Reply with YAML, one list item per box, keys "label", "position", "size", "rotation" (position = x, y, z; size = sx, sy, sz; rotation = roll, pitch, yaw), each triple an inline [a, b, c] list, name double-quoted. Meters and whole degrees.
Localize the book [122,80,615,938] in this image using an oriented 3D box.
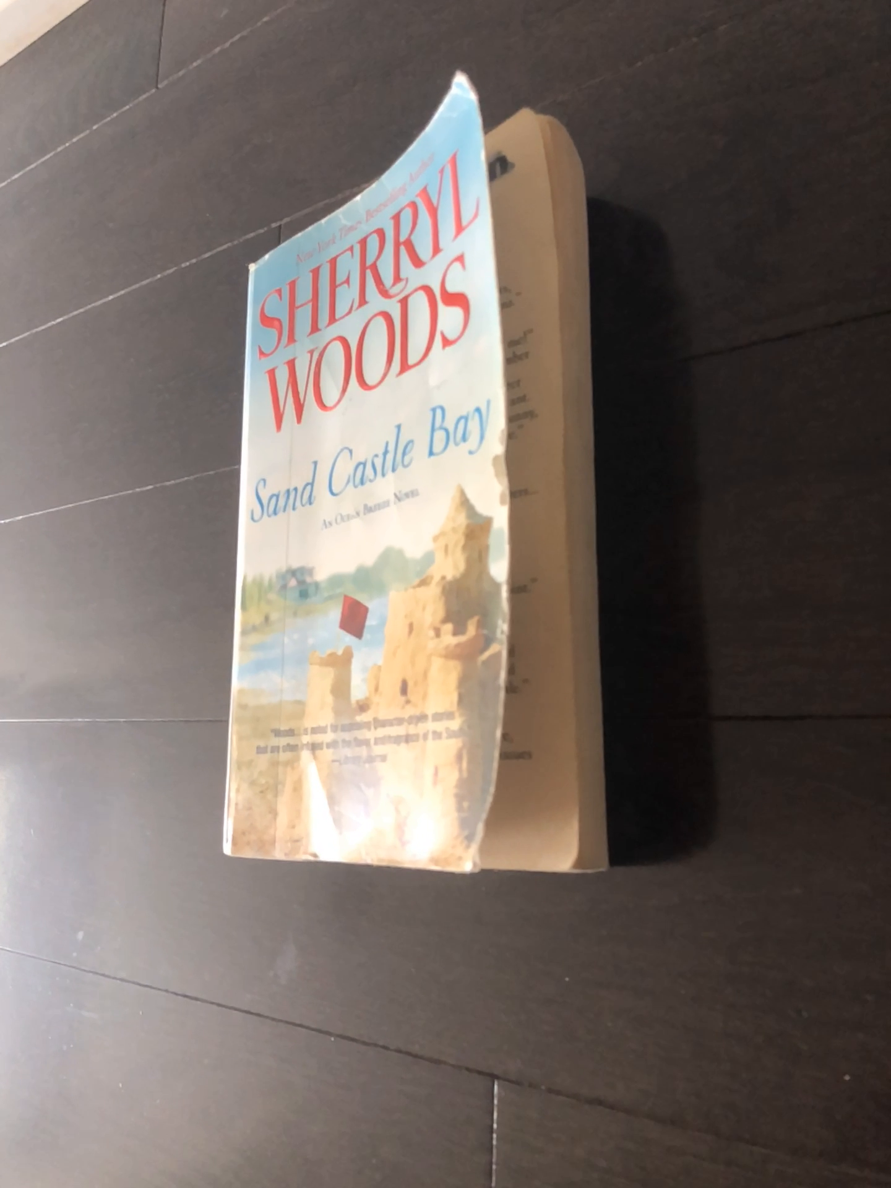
- label: "book"
  position: [-0.024, -0.013, 0.233]
  size: [0.120, 0.037, 0.161]
  rotation: [-7, 79, 40]
